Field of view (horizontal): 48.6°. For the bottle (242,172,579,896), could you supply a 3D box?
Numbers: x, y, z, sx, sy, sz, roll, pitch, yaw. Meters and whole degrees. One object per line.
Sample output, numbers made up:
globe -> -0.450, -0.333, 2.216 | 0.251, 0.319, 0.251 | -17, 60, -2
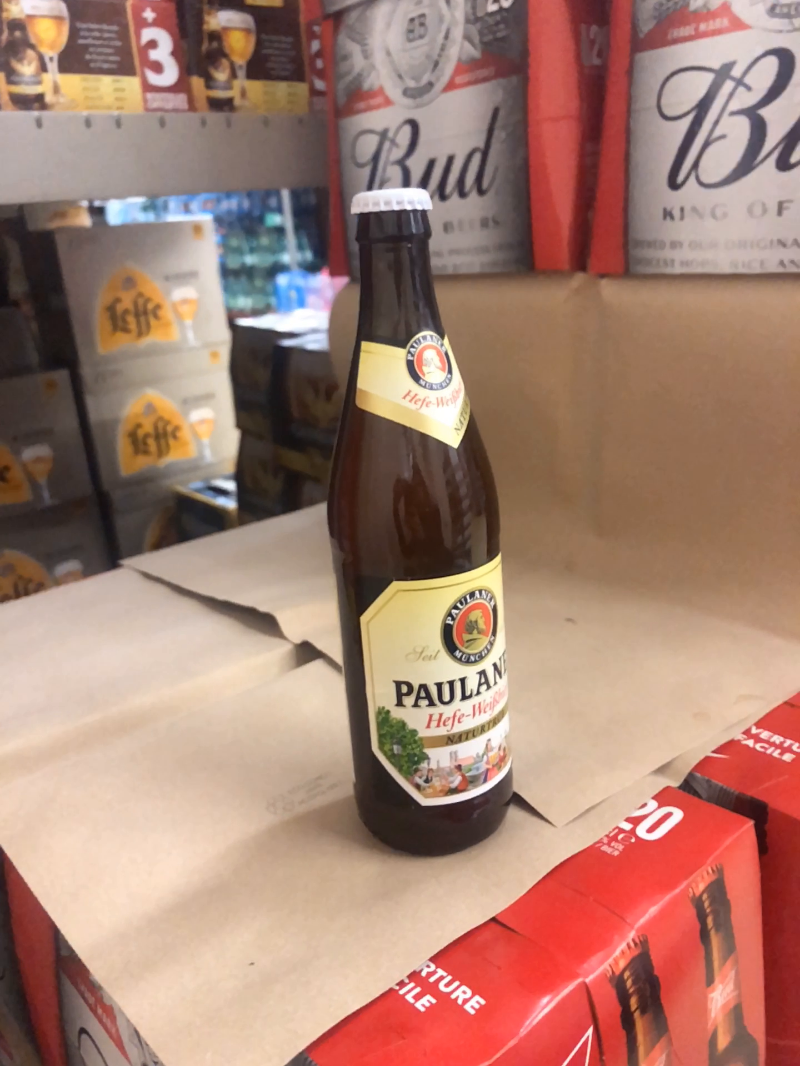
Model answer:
bottle -> 0.007, -0.001, 0.331 | 0.080, 0.239, 0.080 | -5, 19, 2
